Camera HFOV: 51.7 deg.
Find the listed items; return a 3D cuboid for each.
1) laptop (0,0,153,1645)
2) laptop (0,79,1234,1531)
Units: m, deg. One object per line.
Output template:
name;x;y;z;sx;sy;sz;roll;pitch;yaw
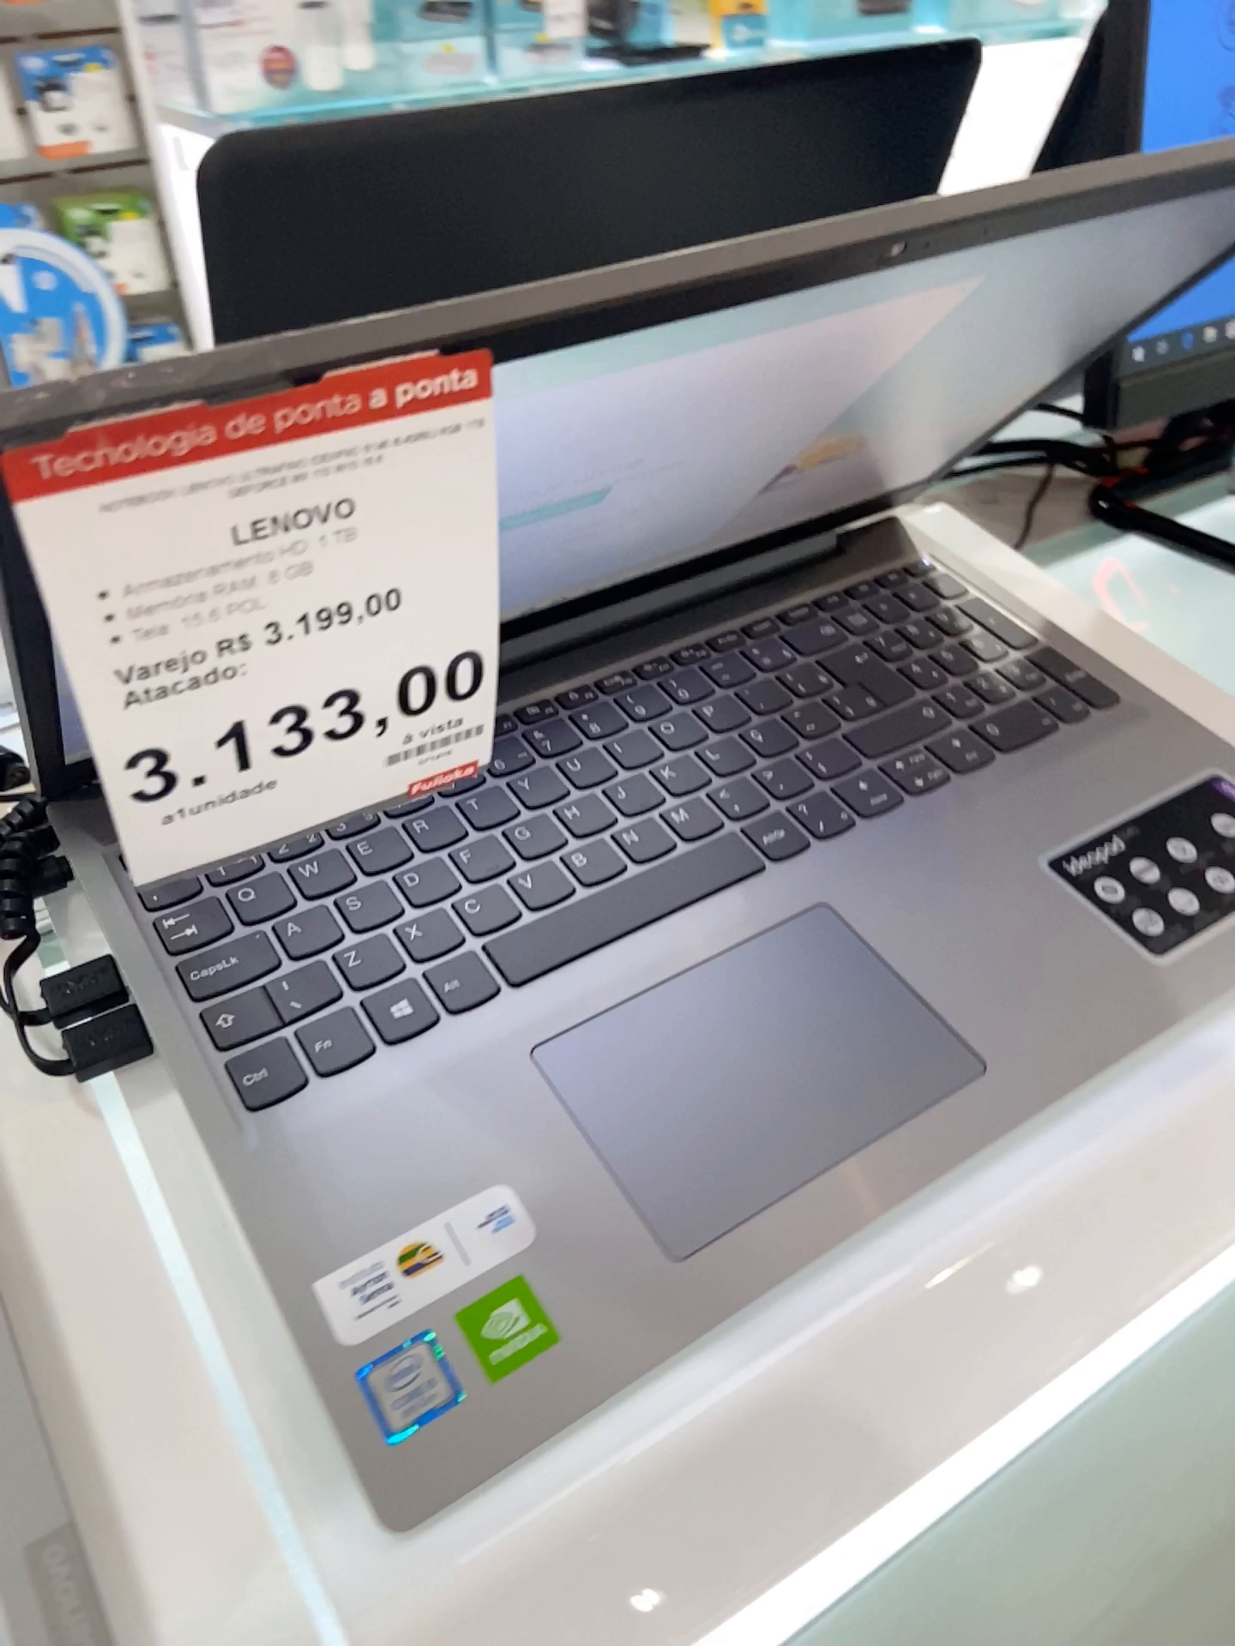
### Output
laptop;-0.345;0.018;0.195;0.347;0.224;0.352;-22;47;-28
laptop;0.033;-0.062;0.357;0.360;0.163;0.242;-23;47;-25
